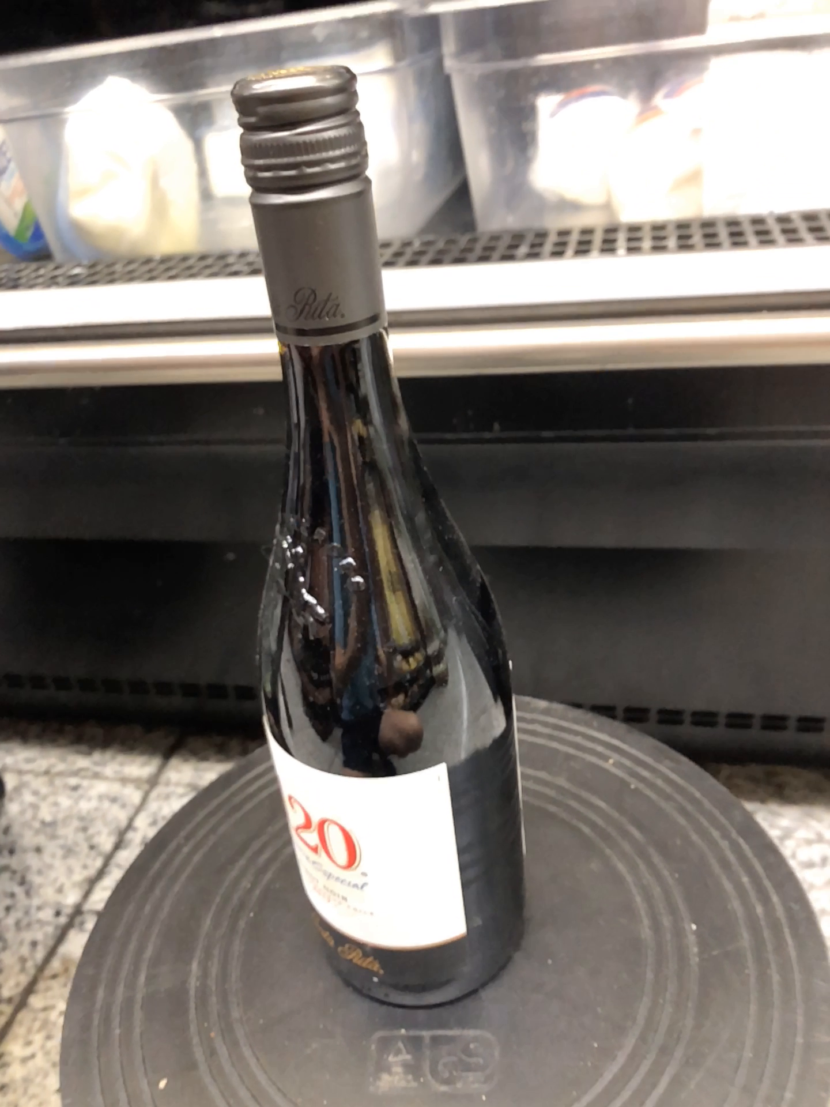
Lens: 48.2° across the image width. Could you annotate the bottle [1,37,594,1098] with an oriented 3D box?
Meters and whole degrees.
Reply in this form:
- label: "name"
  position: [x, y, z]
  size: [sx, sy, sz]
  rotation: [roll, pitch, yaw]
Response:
- label: "bottle"
  position: [-0.013, 0.018, 0.276]
  size: [0.090, 0.288, 0.090]
  rotation: [-6, 31, 3]
